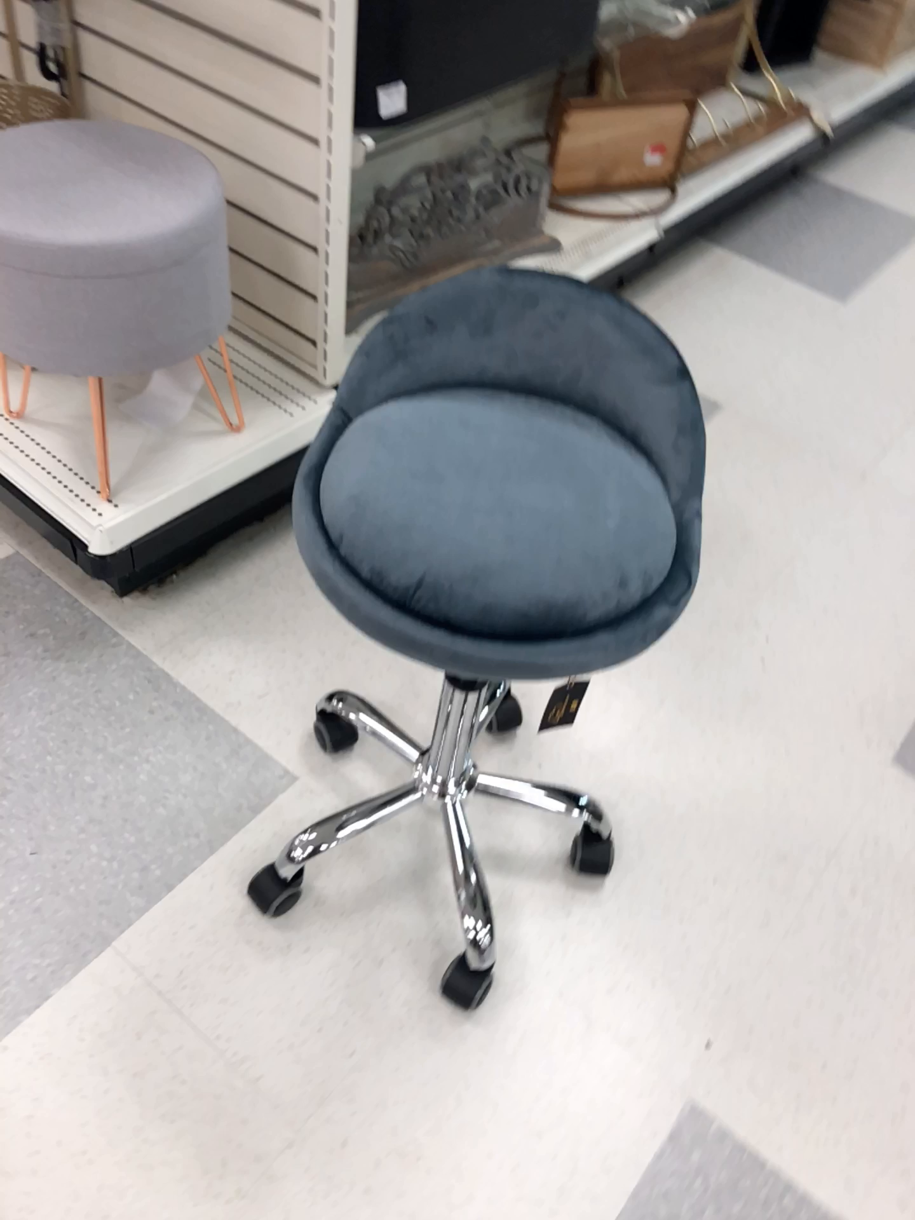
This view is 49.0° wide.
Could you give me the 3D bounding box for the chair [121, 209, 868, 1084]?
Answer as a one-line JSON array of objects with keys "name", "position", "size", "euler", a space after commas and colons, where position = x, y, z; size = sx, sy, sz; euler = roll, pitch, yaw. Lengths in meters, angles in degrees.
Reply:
[{"name": "chair", "position": [0.039, 0.051, 1.031], "size": [0.474, 0.630, 0.485], "euler": [19, 47, 9]}]
